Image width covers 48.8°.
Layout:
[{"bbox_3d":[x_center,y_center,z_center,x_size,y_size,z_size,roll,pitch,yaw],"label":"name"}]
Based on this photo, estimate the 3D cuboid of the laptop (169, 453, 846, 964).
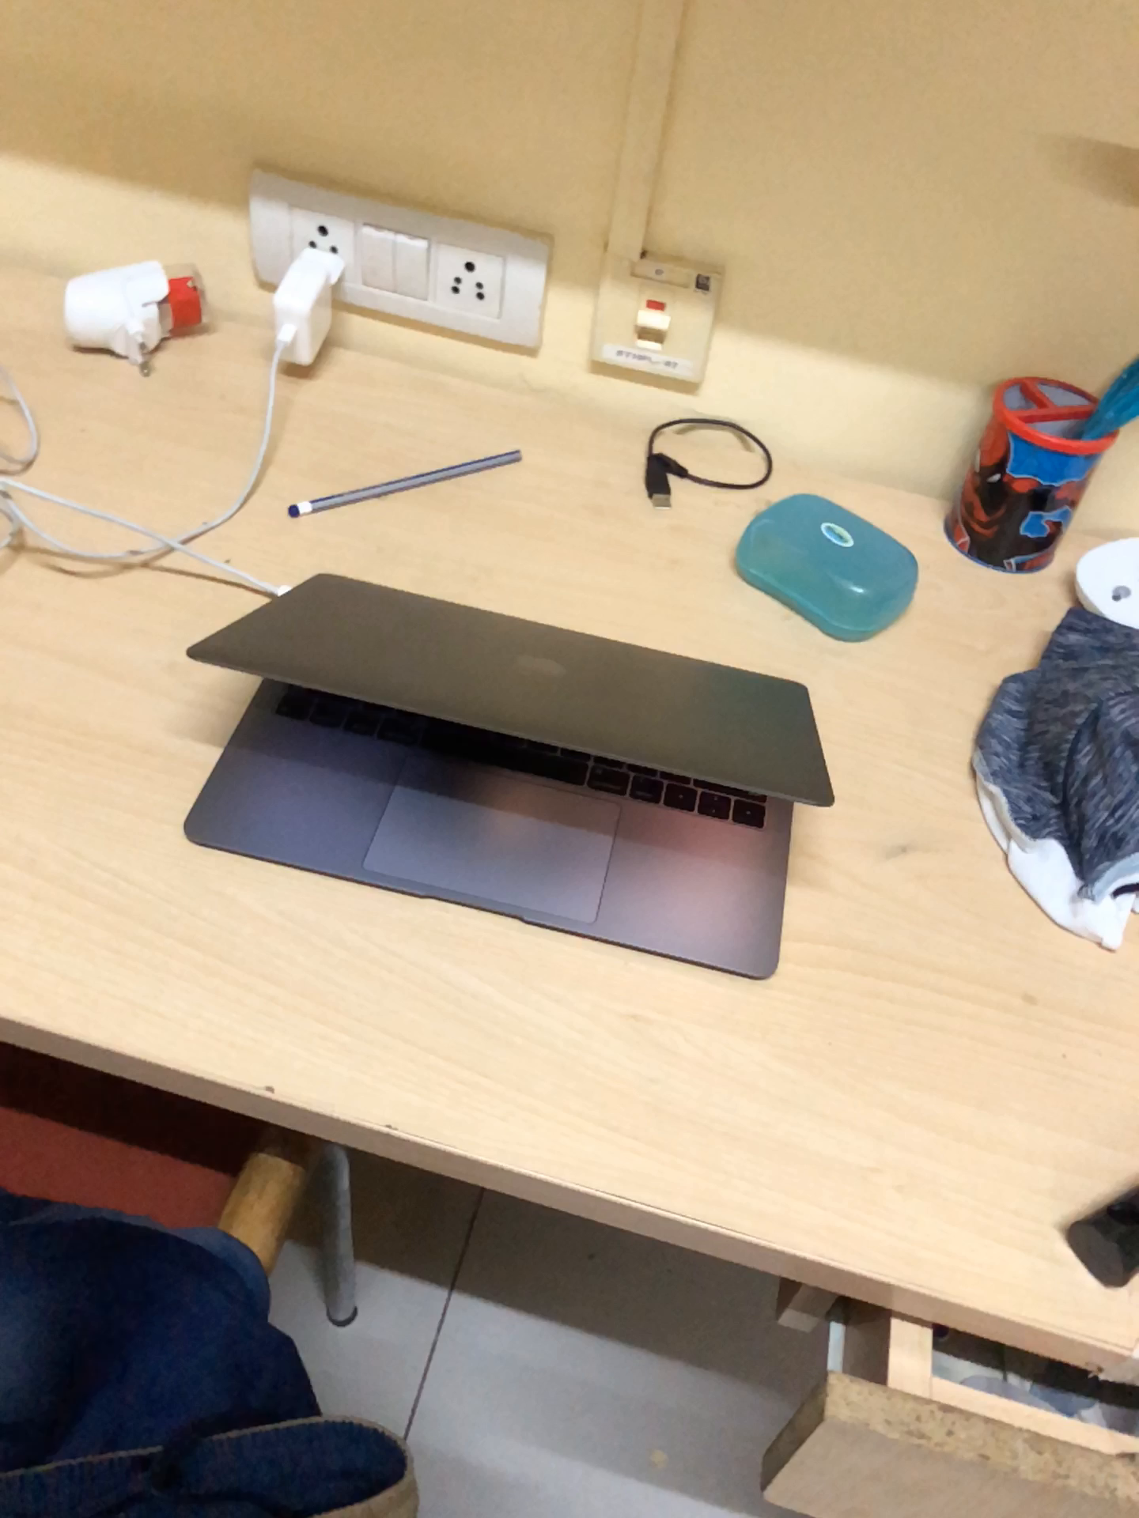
[{"bbox_3d":[-0.021,-0.034,0.649,0.294,0.094,0.194,13,47,3],"label":"laptop"}]
